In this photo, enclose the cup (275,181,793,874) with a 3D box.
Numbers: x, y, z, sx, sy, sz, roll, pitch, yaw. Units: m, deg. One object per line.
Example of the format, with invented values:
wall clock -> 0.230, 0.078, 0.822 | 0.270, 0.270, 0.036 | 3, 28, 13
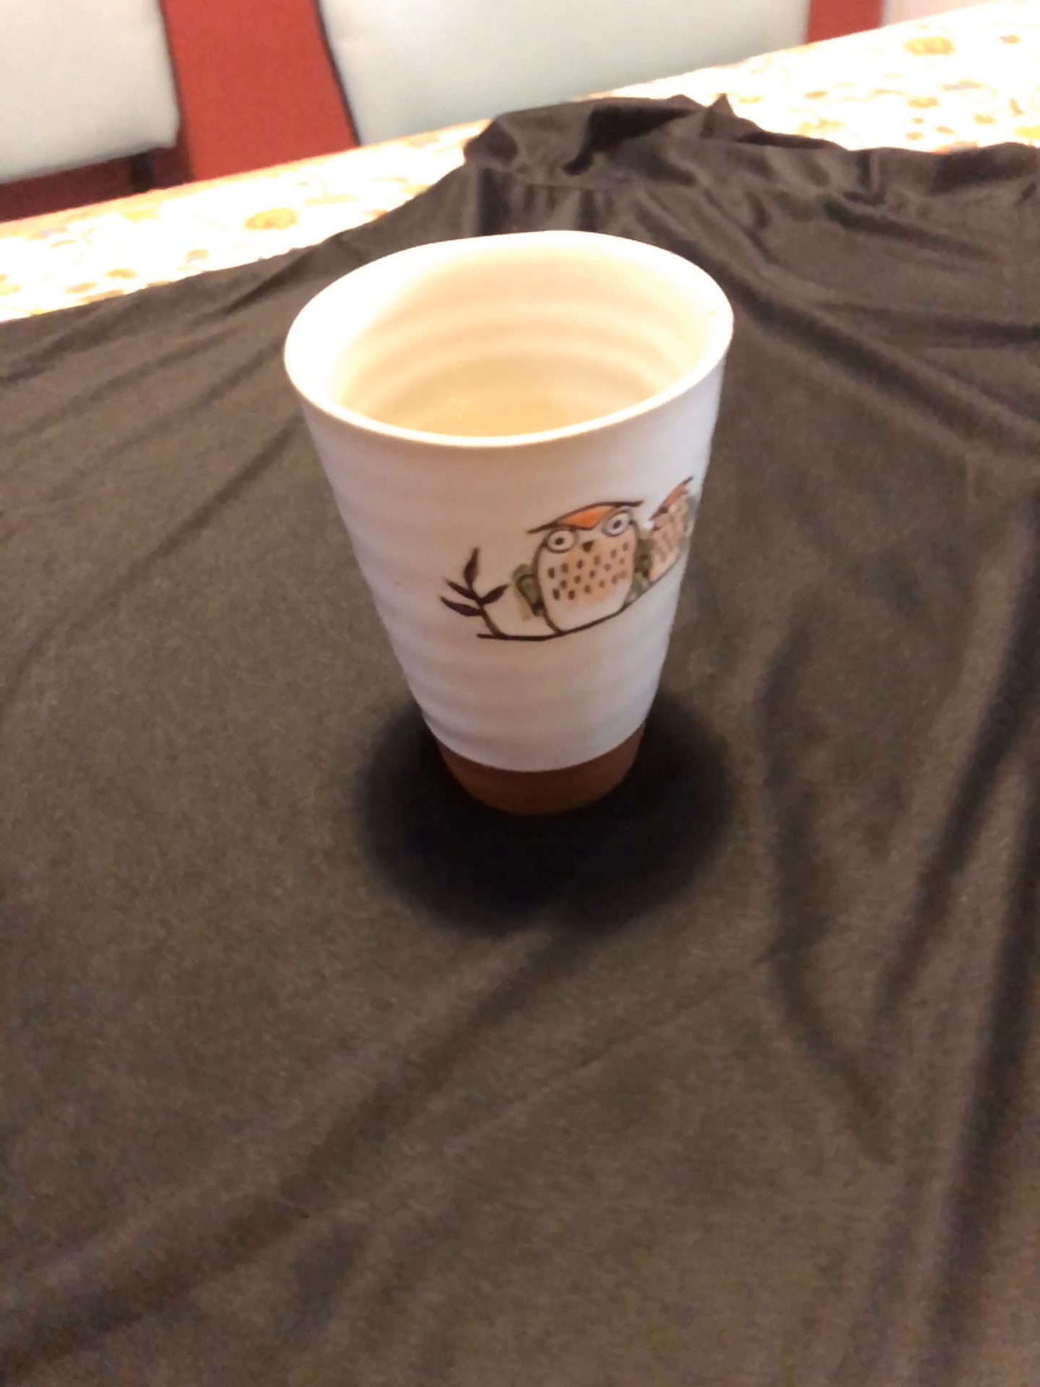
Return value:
cup -> 0.000, -0.035, 0.243 | 0.080, 0.099, 0.091 | -9, 43, -3
